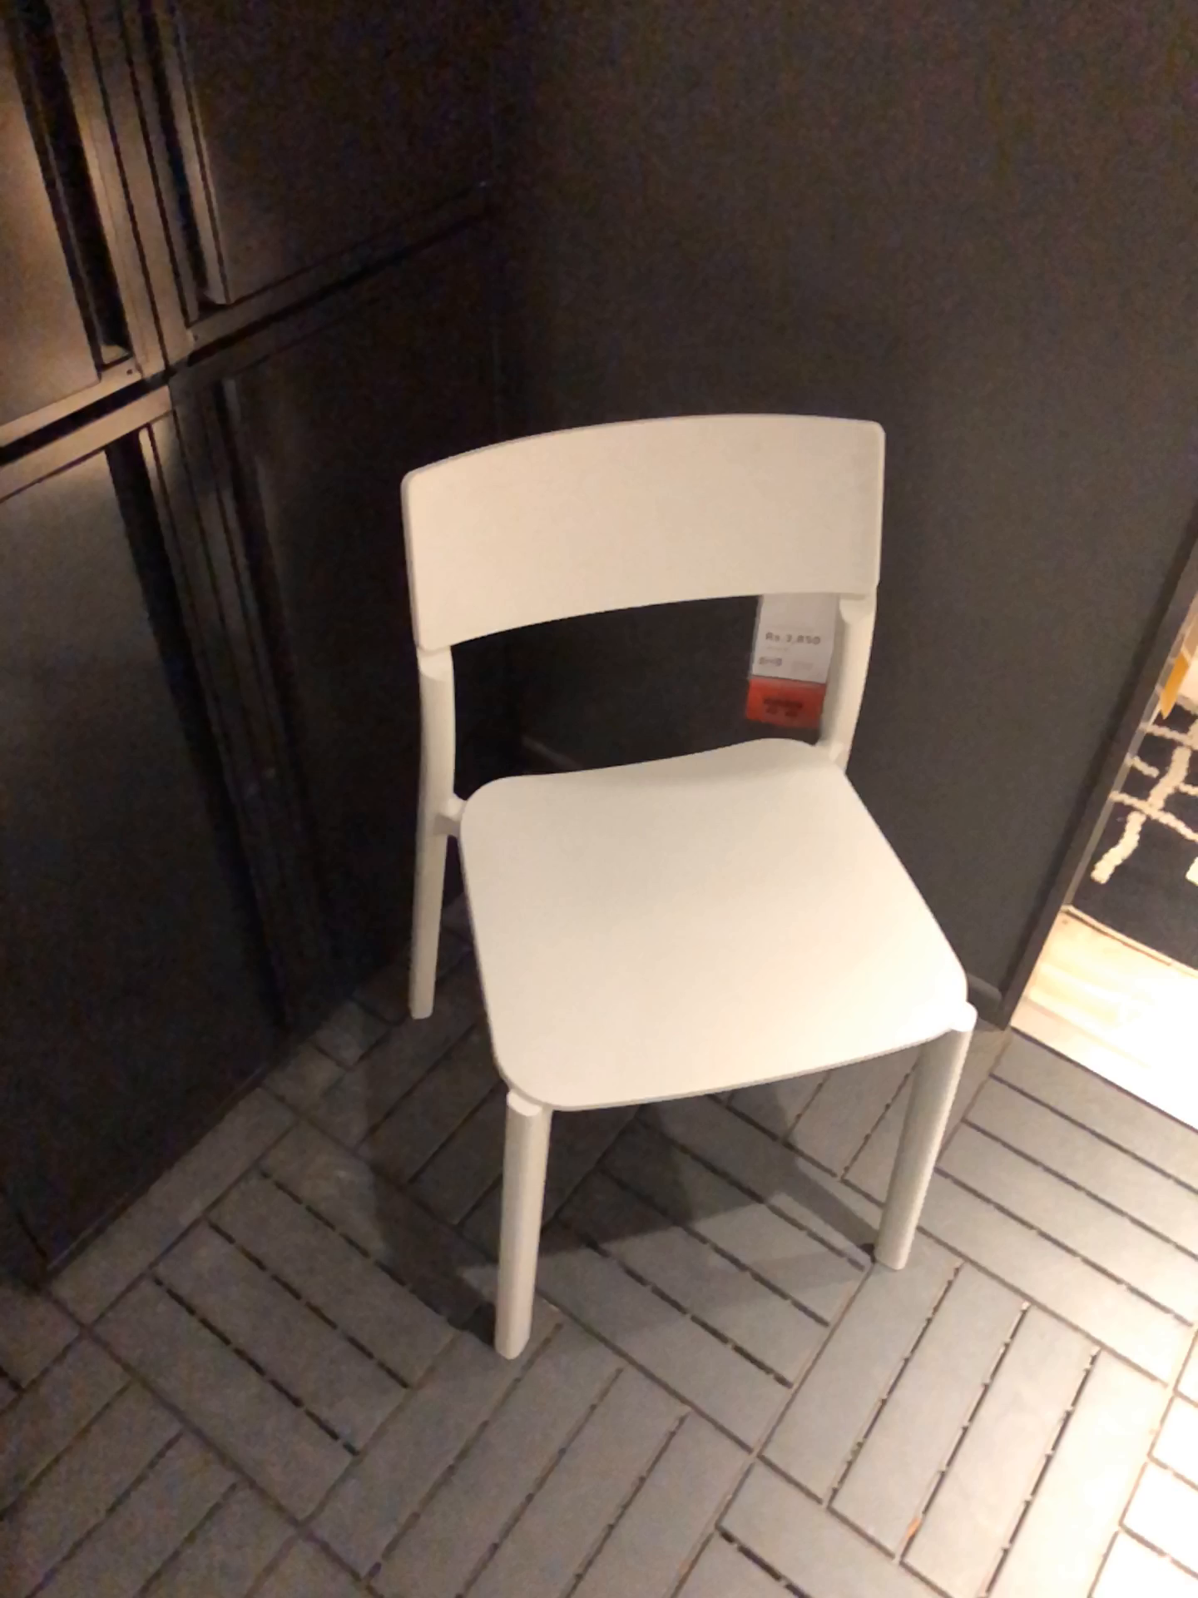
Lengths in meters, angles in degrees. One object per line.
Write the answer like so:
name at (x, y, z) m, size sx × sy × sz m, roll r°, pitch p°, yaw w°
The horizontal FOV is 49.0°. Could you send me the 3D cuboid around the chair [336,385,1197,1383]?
chair at (0.080, 0.093, 1.173) m, size 0.500 × 0.705 × 0.473 m, roll -8°, pitch 47°, yaw -10°
